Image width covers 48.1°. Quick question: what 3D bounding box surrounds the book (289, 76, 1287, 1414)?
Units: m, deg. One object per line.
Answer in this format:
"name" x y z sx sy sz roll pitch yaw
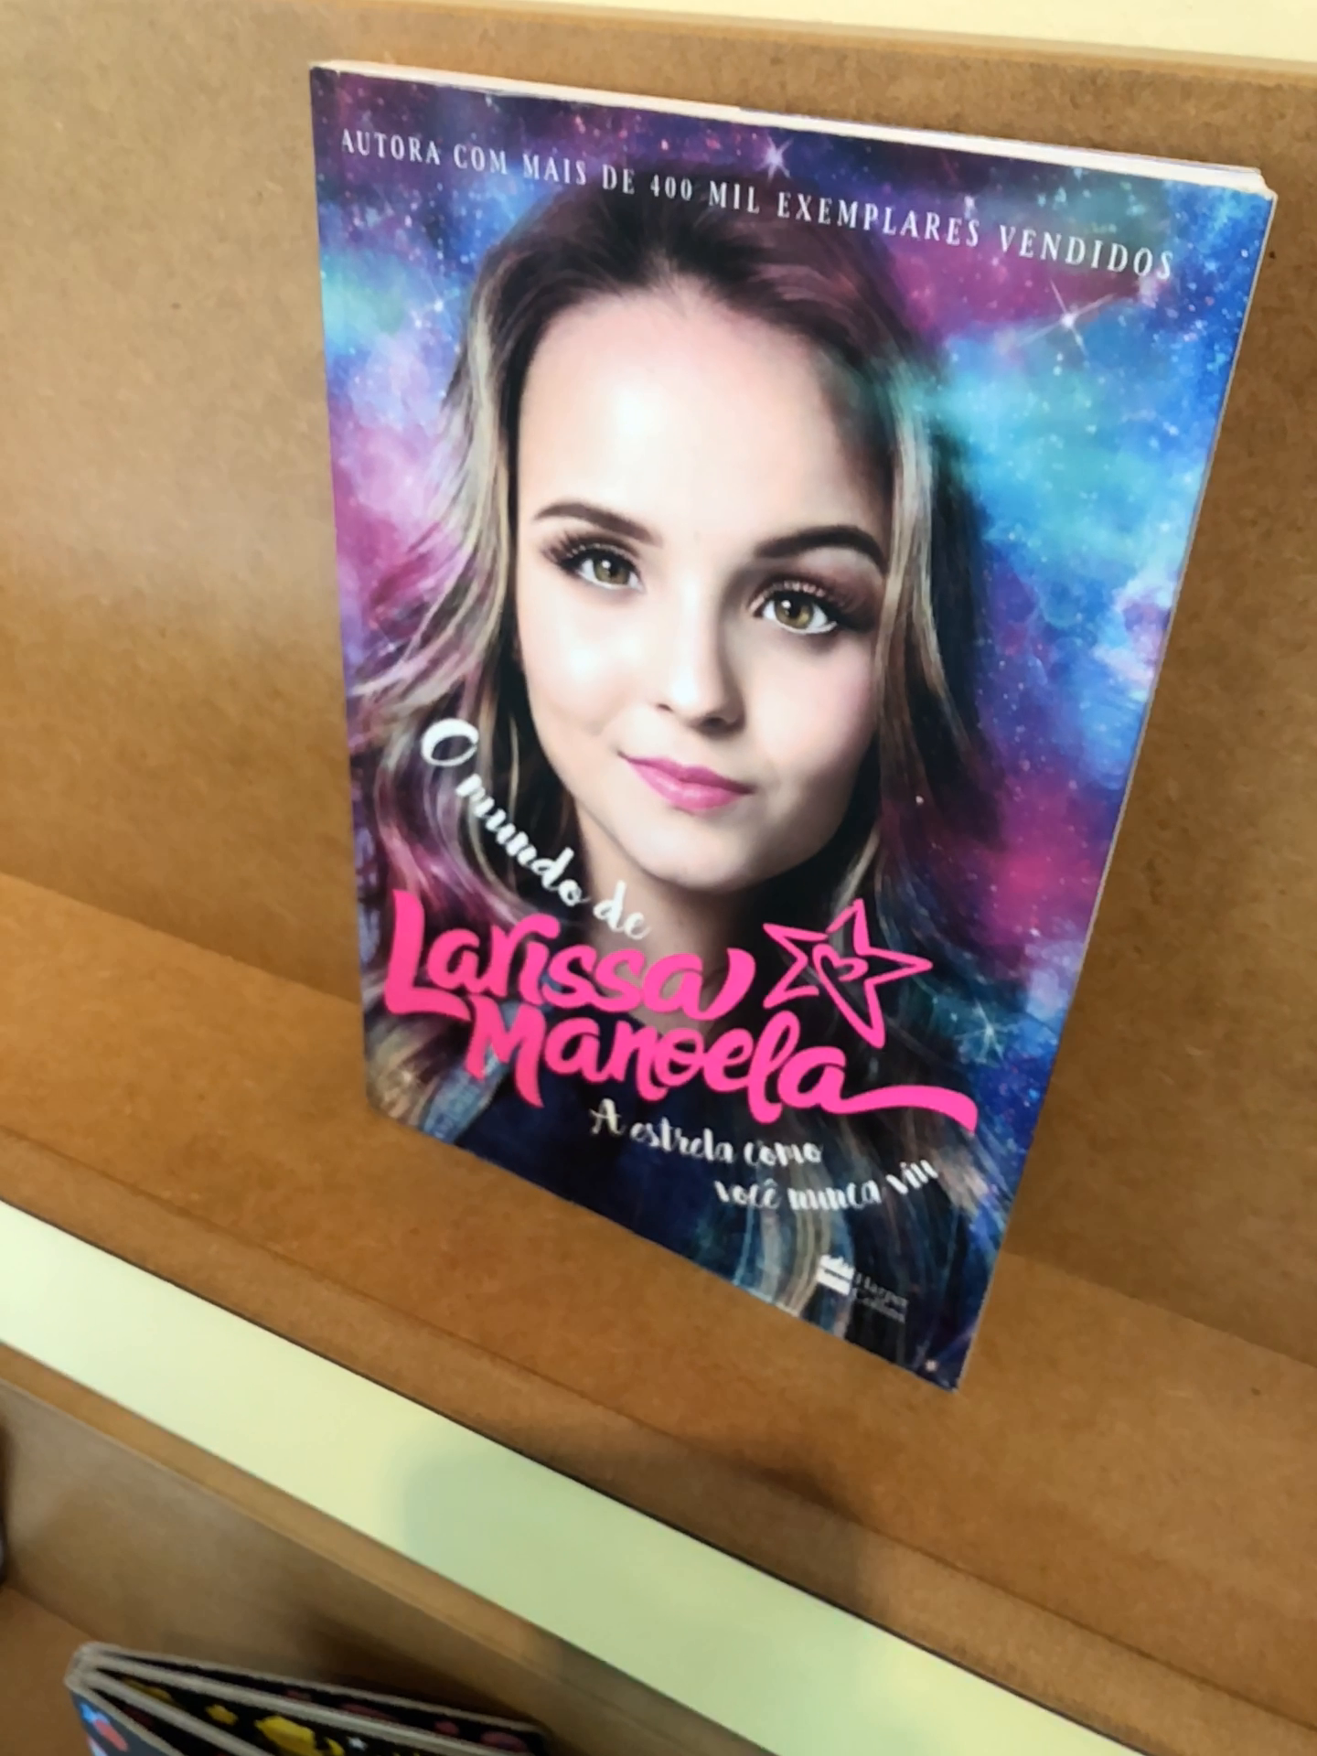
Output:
"book" 0.006 -0.015 0.271 0.150 0.221 0.020 20 36 24
